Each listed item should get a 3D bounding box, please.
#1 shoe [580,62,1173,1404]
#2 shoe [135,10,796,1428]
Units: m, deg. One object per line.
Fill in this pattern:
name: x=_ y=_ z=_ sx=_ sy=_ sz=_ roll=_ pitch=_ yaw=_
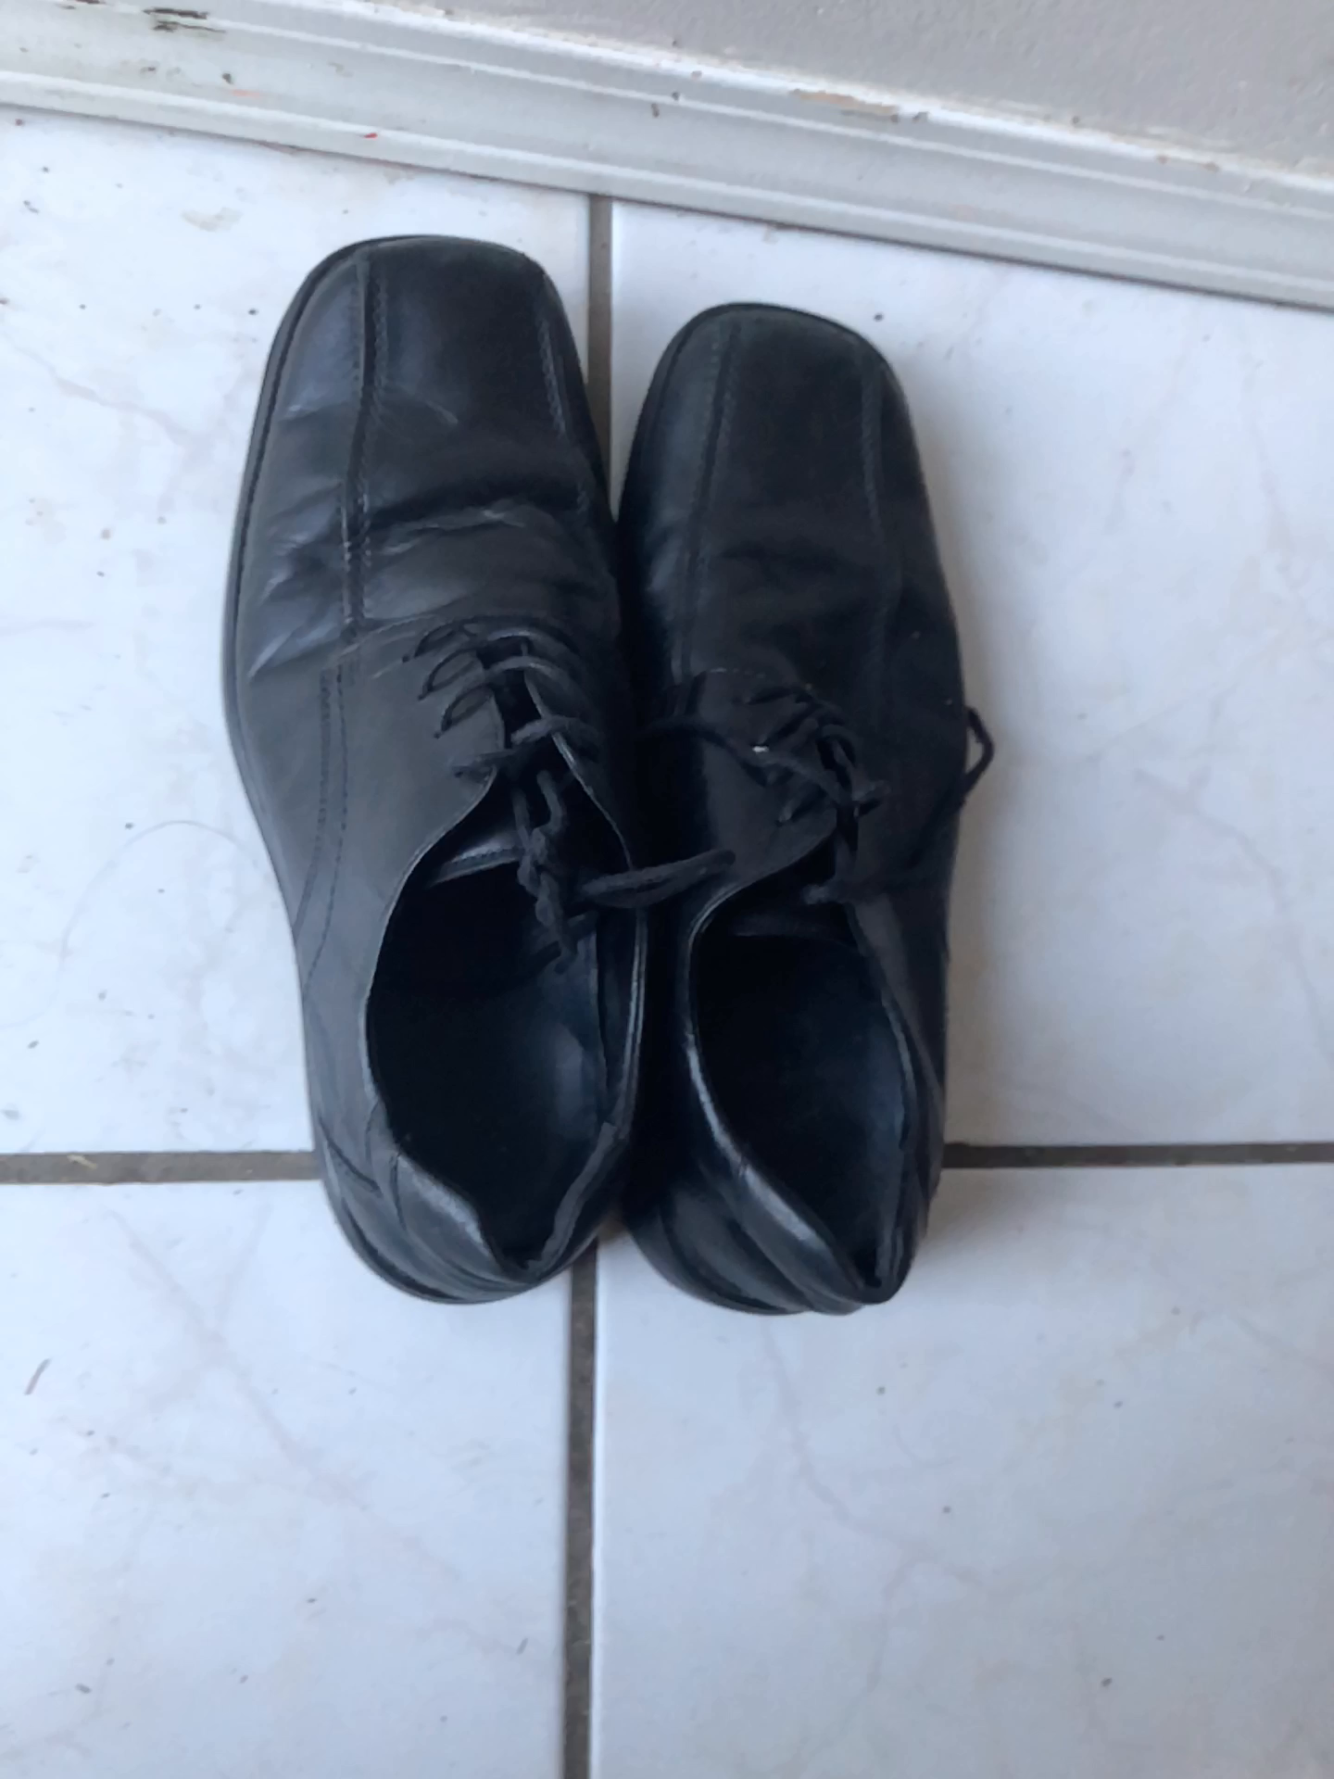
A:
shoe: x=0.044 y=-0.035 z=0.376 sx=0.110 sy=0.100 sz=0.290 roll=0 pitch=84 yaw=-14
shoe: x=-0.054 y=-0.039 z=0.361 sx=0.120 sy=0.100 sz=0.290 roll=-3 pitch=85 yaw=-15
